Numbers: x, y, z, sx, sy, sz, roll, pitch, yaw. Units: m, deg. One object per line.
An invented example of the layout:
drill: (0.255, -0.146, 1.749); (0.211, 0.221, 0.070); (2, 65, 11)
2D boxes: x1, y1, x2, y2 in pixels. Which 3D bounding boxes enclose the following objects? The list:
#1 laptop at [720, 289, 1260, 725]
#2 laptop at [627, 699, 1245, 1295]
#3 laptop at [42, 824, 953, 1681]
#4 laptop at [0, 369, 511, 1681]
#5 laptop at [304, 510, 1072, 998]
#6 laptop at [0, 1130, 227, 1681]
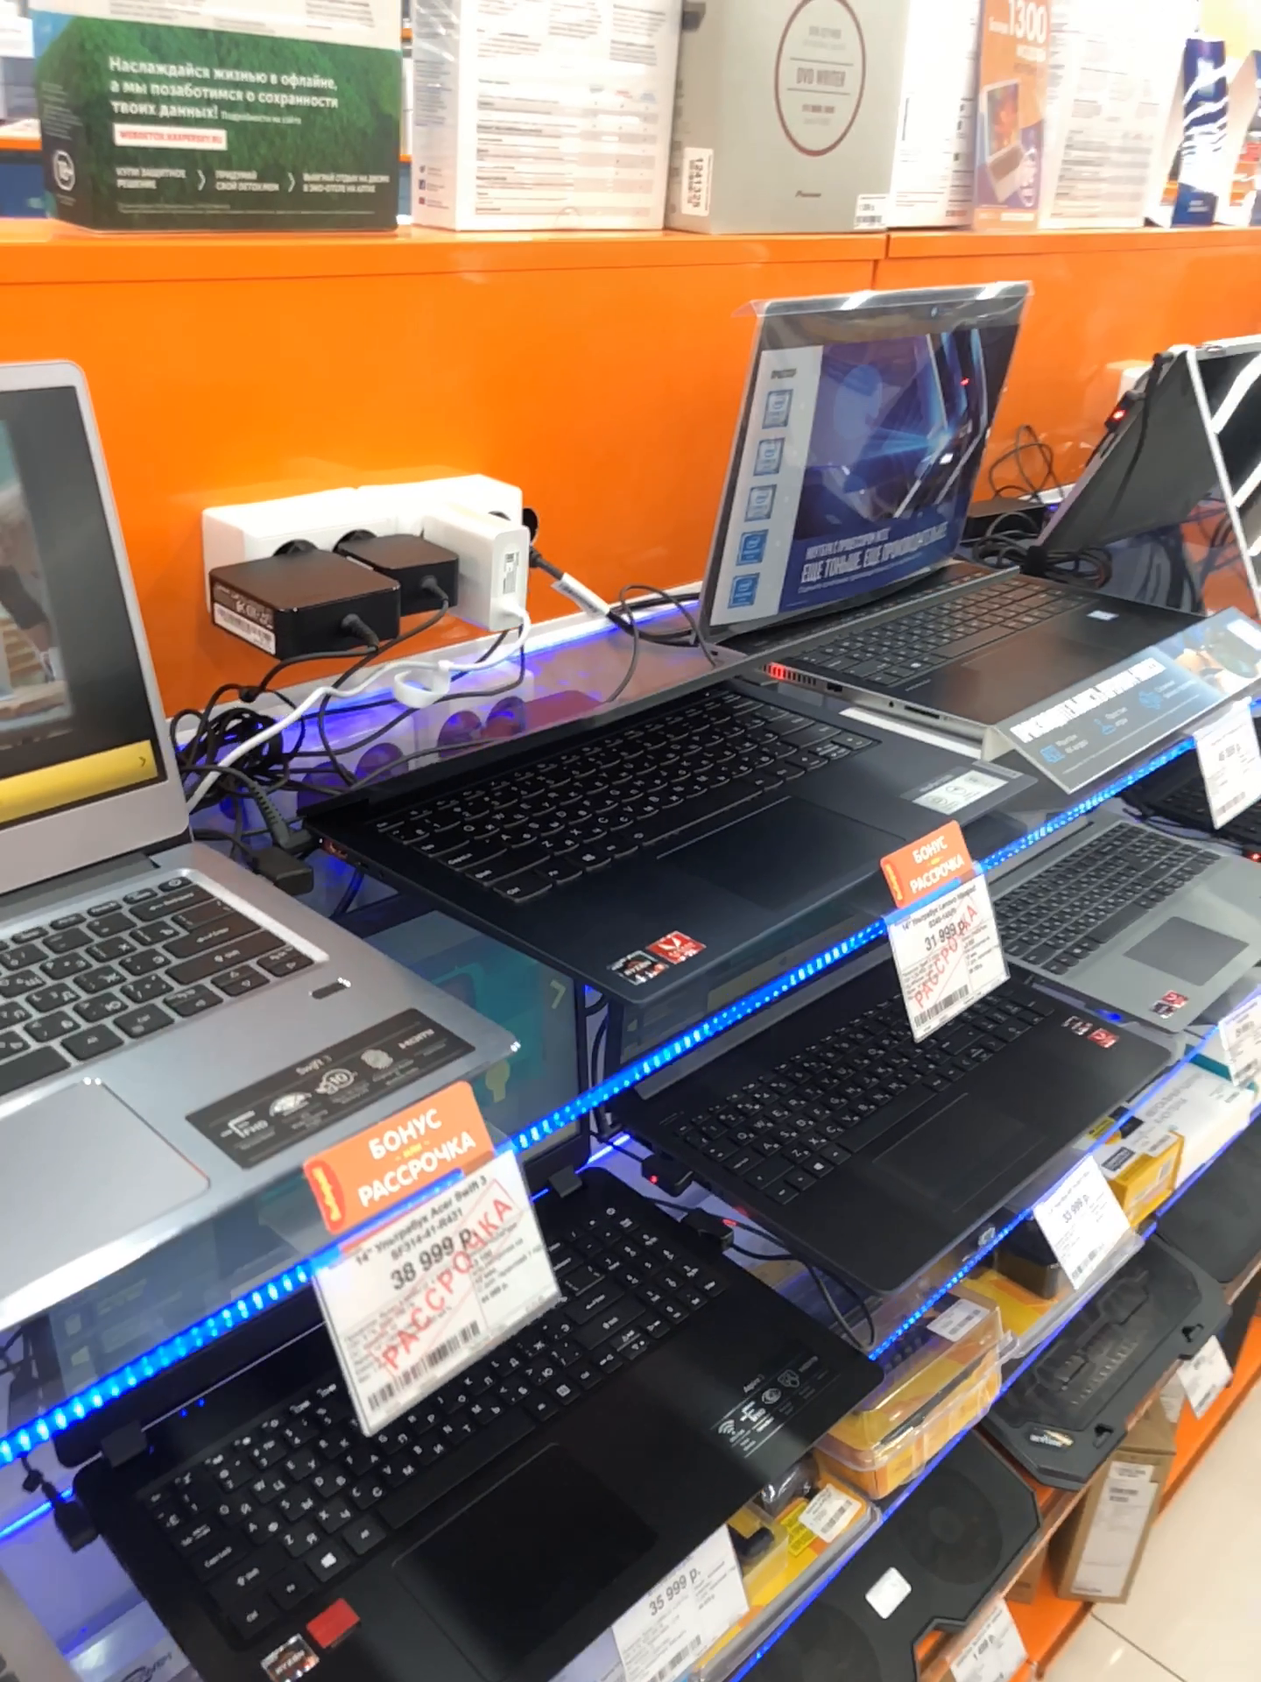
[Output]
laptop: (0.243, -0.245, 0.925); (0.307, 0.213, 0.228); (-22, 33, -40)
laptop: (0.205, 0.075, 0.935); (0.354, 0.215, 0.226); (-21, 34, -39)
laptop: (-0.057, 0.187, 0.668); (0.343, 0.230, 0.246); (-20, 34, -39)
laptop: (-0.223, -0.010, 0.406); (0.225, 0.203, 0.316); (24, 32, 37)
laptop: (0.033, -0.067, 0.674); (0.212, 0.106, 0.300); (25, 34, 38)
laptop: (-0.332, 0.299, 0.401); (0.235, 0.208, 0.349); (24, 31, 36)
